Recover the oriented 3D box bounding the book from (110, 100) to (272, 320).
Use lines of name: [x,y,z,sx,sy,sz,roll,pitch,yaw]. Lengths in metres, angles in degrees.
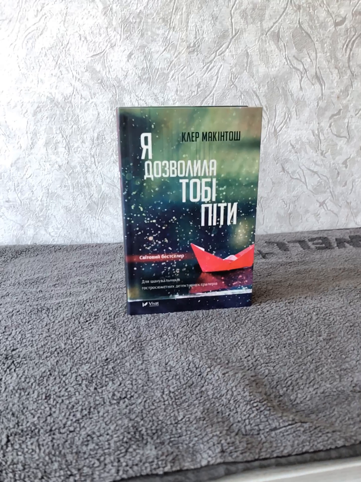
book: [0.009,-0.031,0.391,0.139,0.201,0.044,-5,20,-11]
